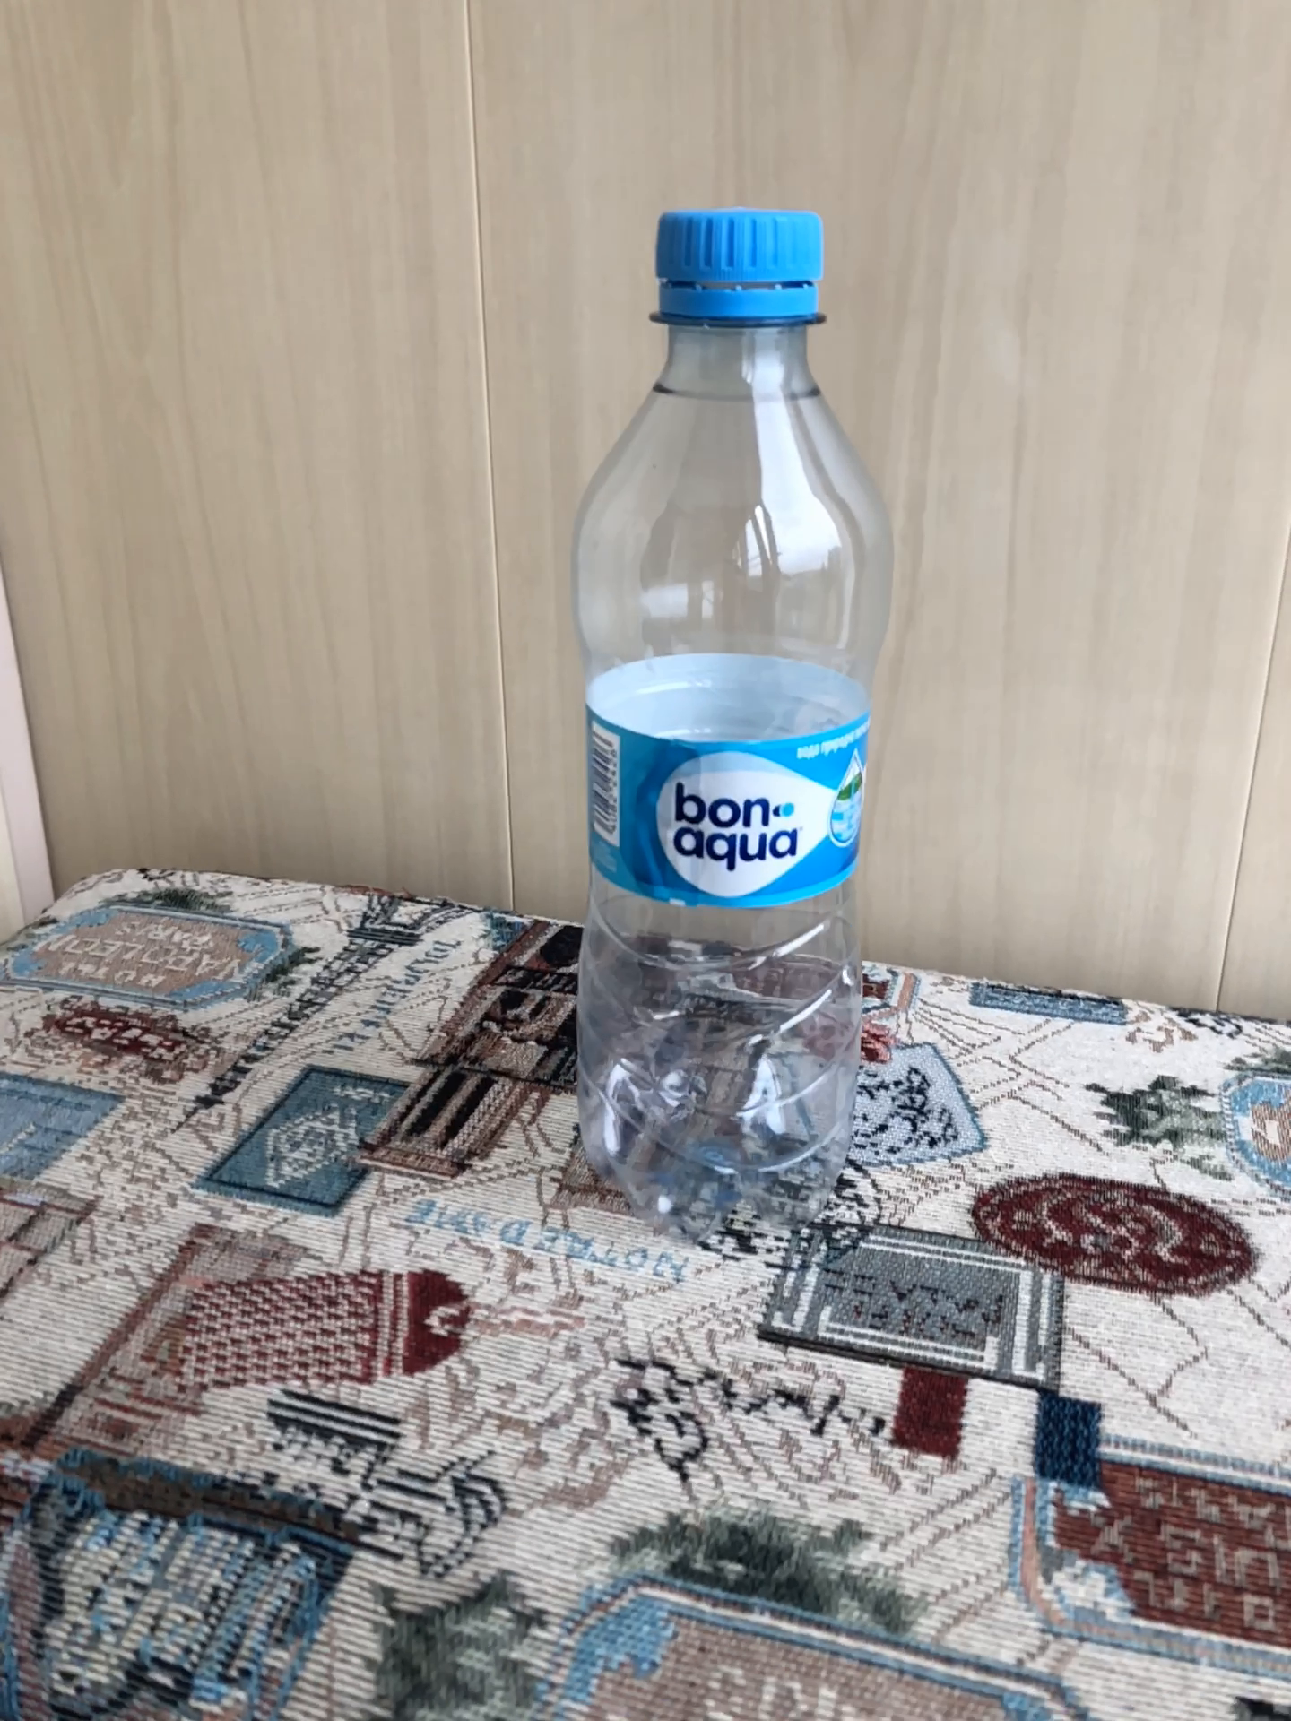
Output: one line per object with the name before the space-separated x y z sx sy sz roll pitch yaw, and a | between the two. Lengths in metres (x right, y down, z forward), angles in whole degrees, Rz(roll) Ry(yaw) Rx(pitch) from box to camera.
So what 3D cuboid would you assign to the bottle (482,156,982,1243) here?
bottle | 0.017 -0.029 0.298 0.080 0.209 0.070 0 22 3
